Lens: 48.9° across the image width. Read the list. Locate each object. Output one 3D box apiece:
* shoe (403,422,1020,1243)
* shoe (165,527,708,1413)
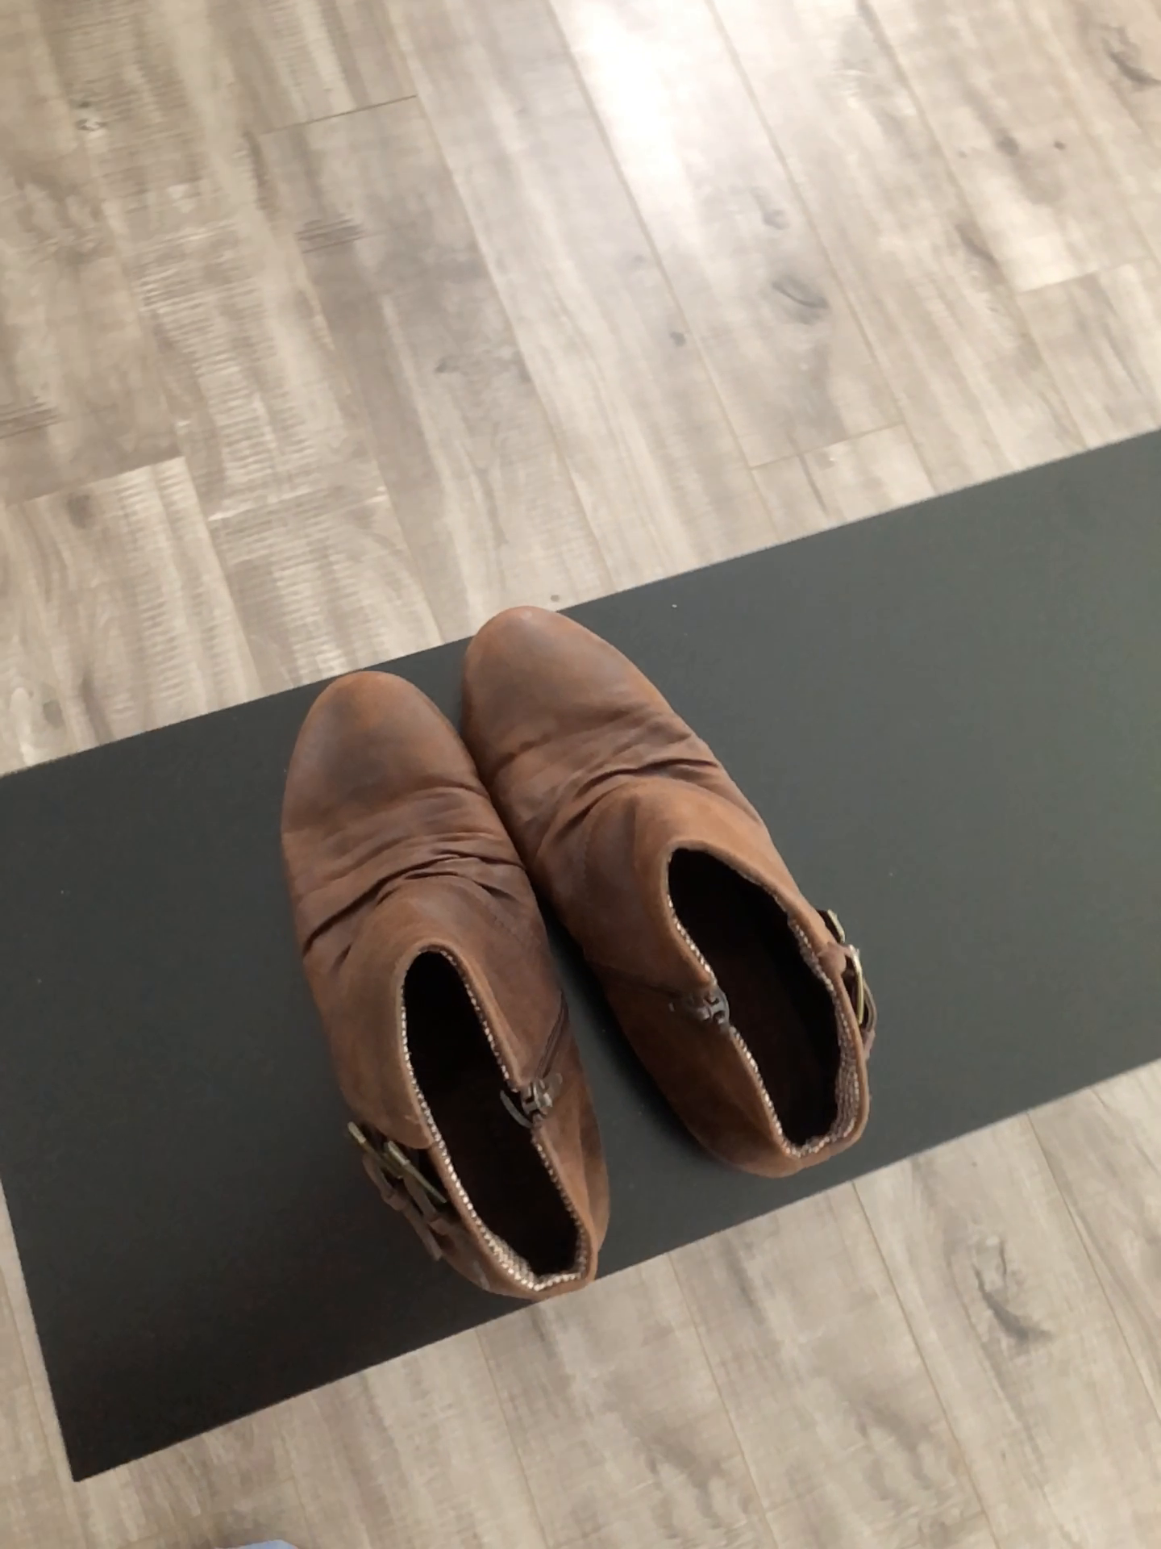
[{"bbox_3d":[0.031,0.024,0.453,0.090,0.130,0.240,-25,80,-11],"label":"shoe"},{"bbox_3d":[-0.051,0.059,0.425,0.090,0.110,0.240,-17,78,-9],"label":"shoe"}]
